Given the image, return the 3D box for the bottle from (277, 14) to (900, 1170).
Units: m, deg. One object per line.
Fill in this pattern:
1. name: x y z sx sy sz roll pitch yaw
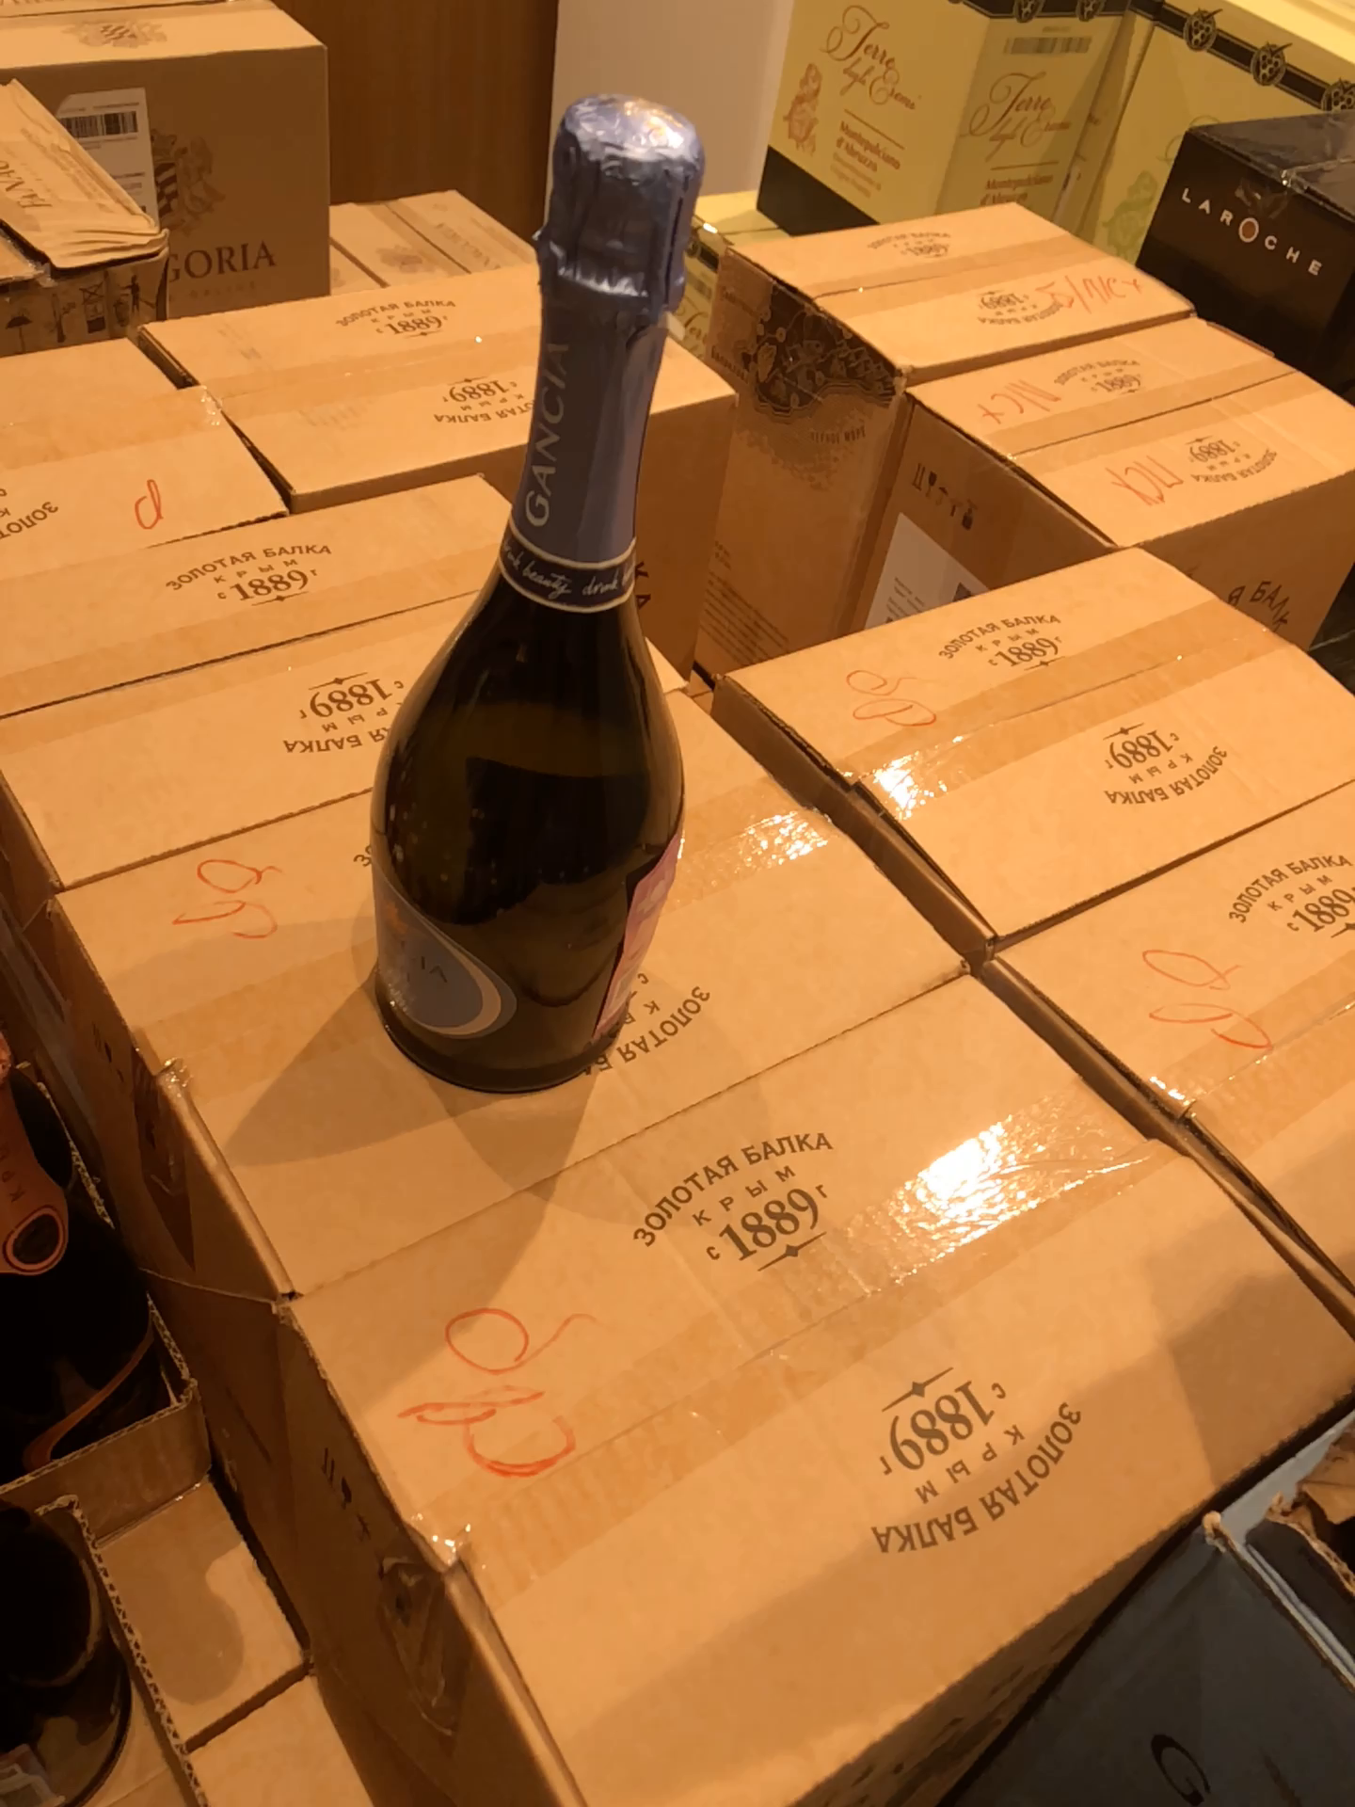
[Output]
1. bottle: -0.041 -0.065 0.420 0.090 0.298 0.101 -25 56 -30
